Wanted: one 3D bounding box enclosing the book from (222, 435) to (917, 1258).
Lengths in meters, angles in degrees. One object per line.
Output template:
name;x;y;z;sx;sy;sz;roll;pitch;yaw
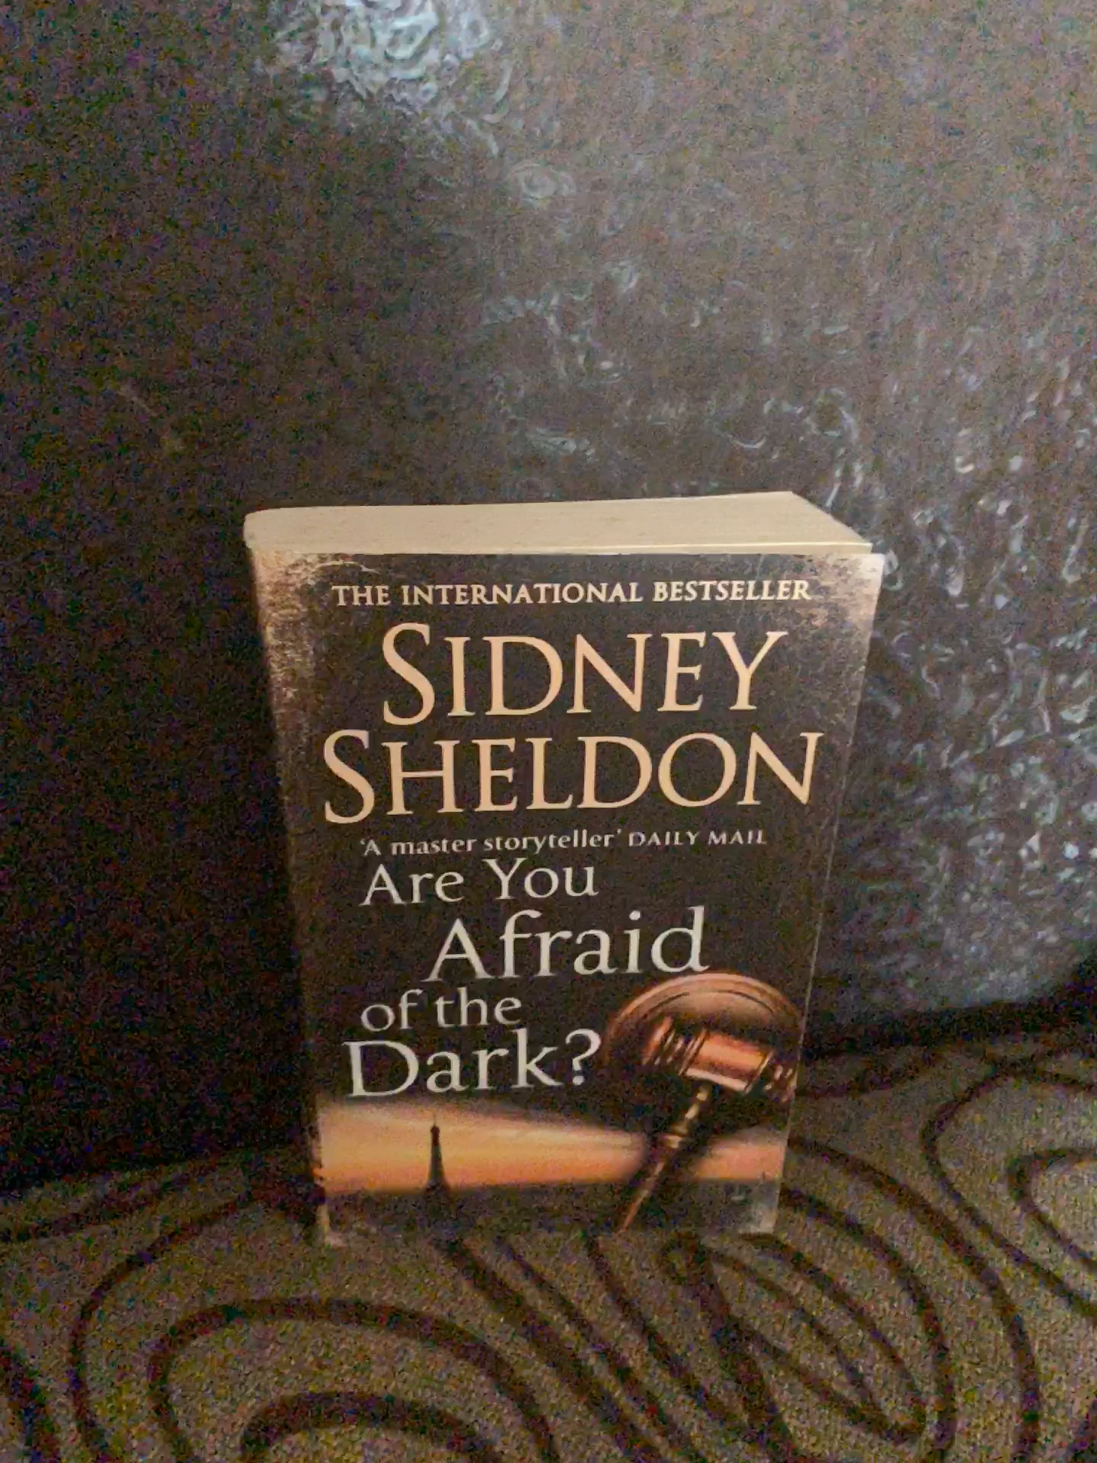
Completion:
book;-0.003;0.032;0.251;0.120;0.179;0.040;0;26;-9
